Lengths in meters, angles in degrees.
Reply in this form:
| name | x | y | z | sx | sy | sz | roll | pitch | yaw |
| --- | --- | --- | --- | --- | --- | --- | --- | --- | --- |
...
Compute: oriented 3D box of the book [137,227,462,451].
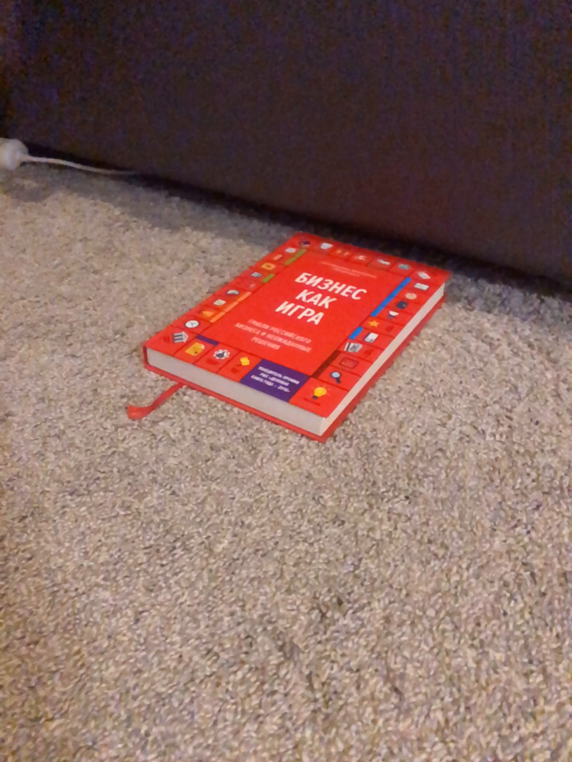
| name | x | y | z | sx | sy | sz | roll | pitch | yaw |
| --- | --- | --- | --- | --- | --- | --- | --- | --- | --- |
| book | 0.024 | -0.057 | 0.550 | 0.180 | 0.033 | 0.248 | 20 | 42 | 24 |
